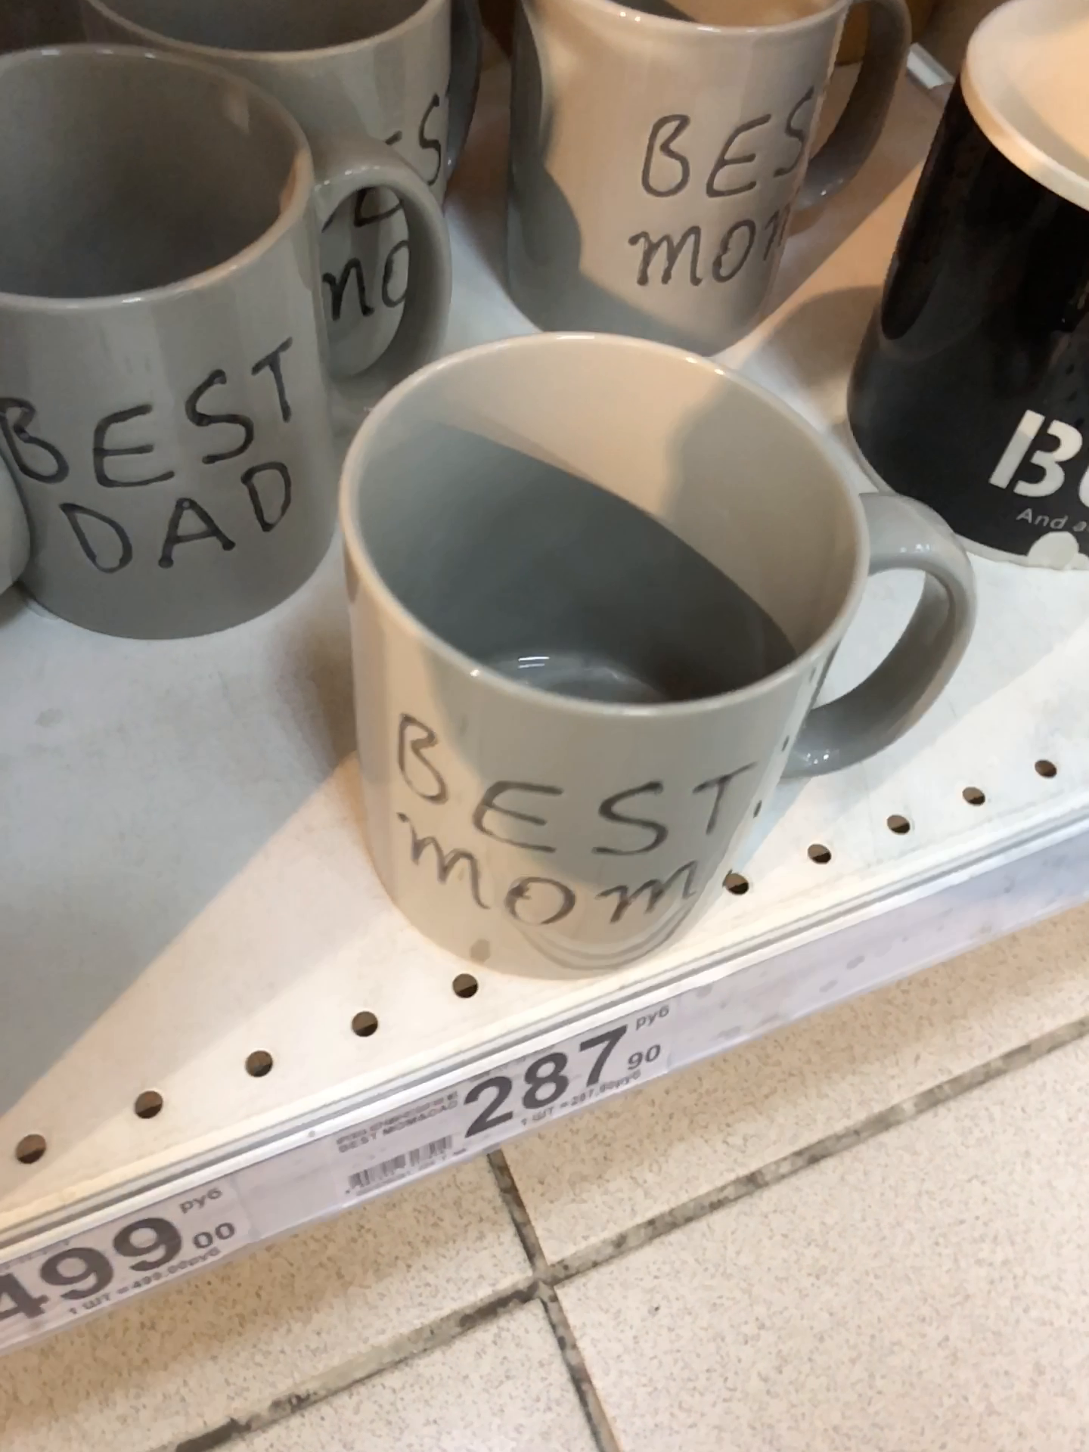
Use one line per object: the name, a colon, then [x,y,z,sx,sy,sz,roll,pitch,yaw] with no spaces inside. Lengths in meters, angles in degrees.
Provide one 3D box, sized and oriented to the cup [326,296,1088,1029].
cup: [0.030,-0.010,0.269,0.143,0.121,0.101,-4,54,-5]
